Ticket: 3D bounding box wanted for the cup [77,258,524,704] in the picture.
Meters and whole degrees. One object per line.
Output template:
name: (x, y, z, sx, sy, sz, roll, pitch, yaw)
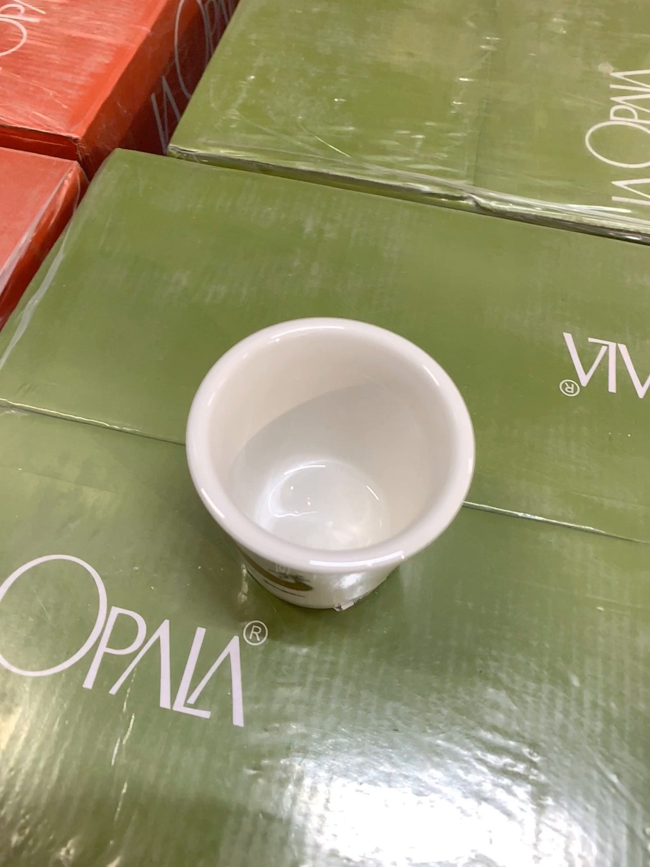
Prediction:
cup: (-0.006, 0.012, 0.174, 0.070, 0.060, 0.070, 1, 59, -2)
